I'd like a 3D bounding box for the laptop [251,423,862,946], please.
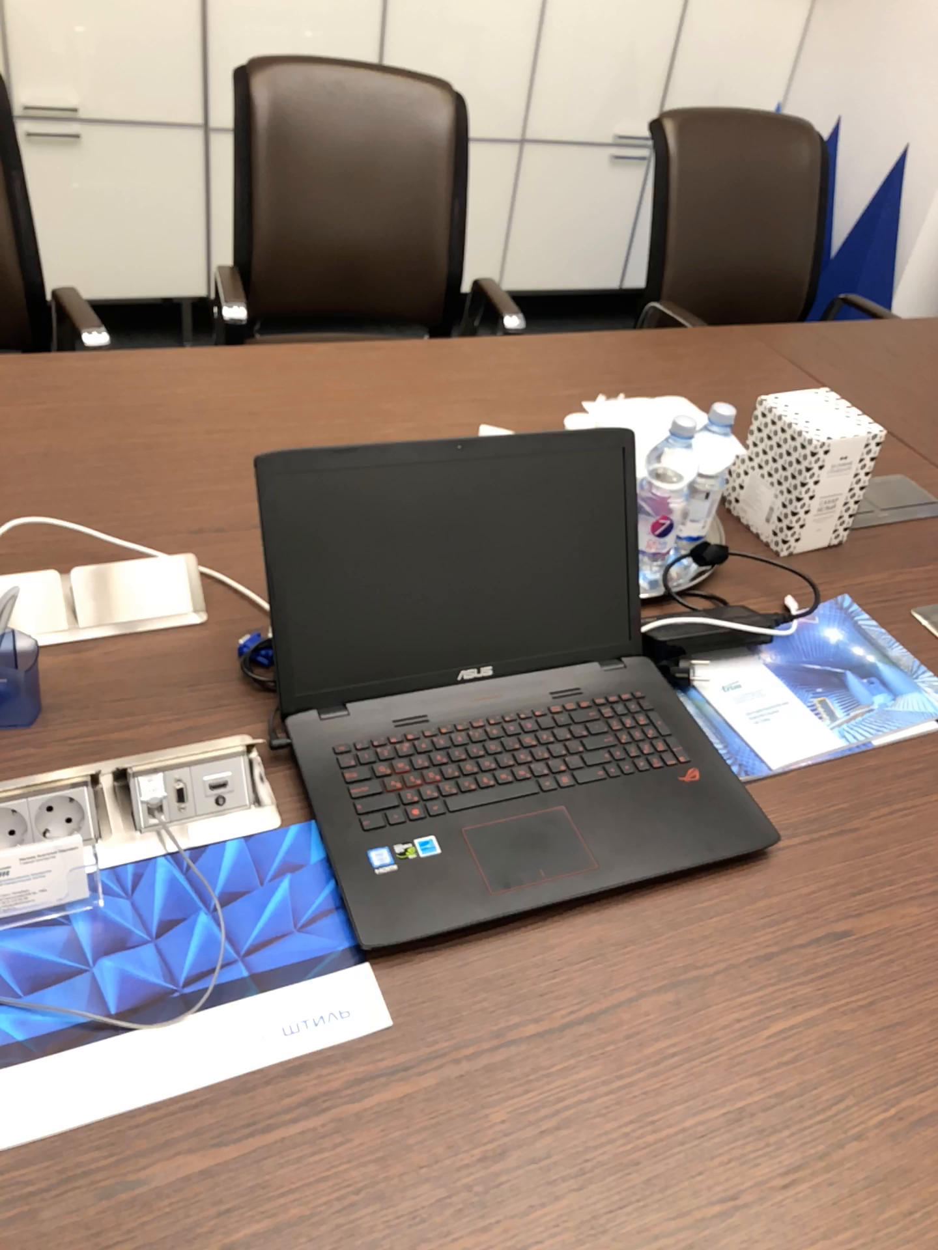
[{"bbox_3d":[0.042,0.016,0.897,0.380,0.194,0.370,-8,42,-22],"label":"laptop"}]
